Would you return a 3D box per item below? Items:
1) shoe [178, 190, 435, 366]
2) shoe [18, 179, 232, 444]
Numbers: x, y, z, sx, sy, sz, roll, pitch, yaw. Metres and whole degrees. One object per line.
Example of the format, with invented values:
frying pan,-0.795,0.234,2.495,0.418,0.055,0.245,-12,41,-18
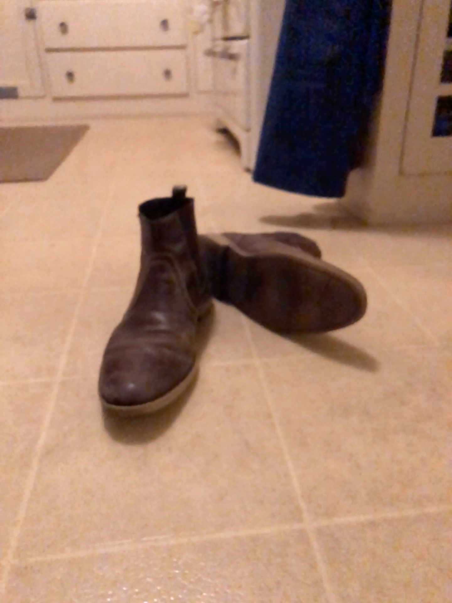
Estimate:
shoe,0.090,-0.055,0.696,0.162,0.111,0.314,-19,32,-34
shoe,-0.079,-0.018,0.571,0.111,0.160,0.315,5,28,11
